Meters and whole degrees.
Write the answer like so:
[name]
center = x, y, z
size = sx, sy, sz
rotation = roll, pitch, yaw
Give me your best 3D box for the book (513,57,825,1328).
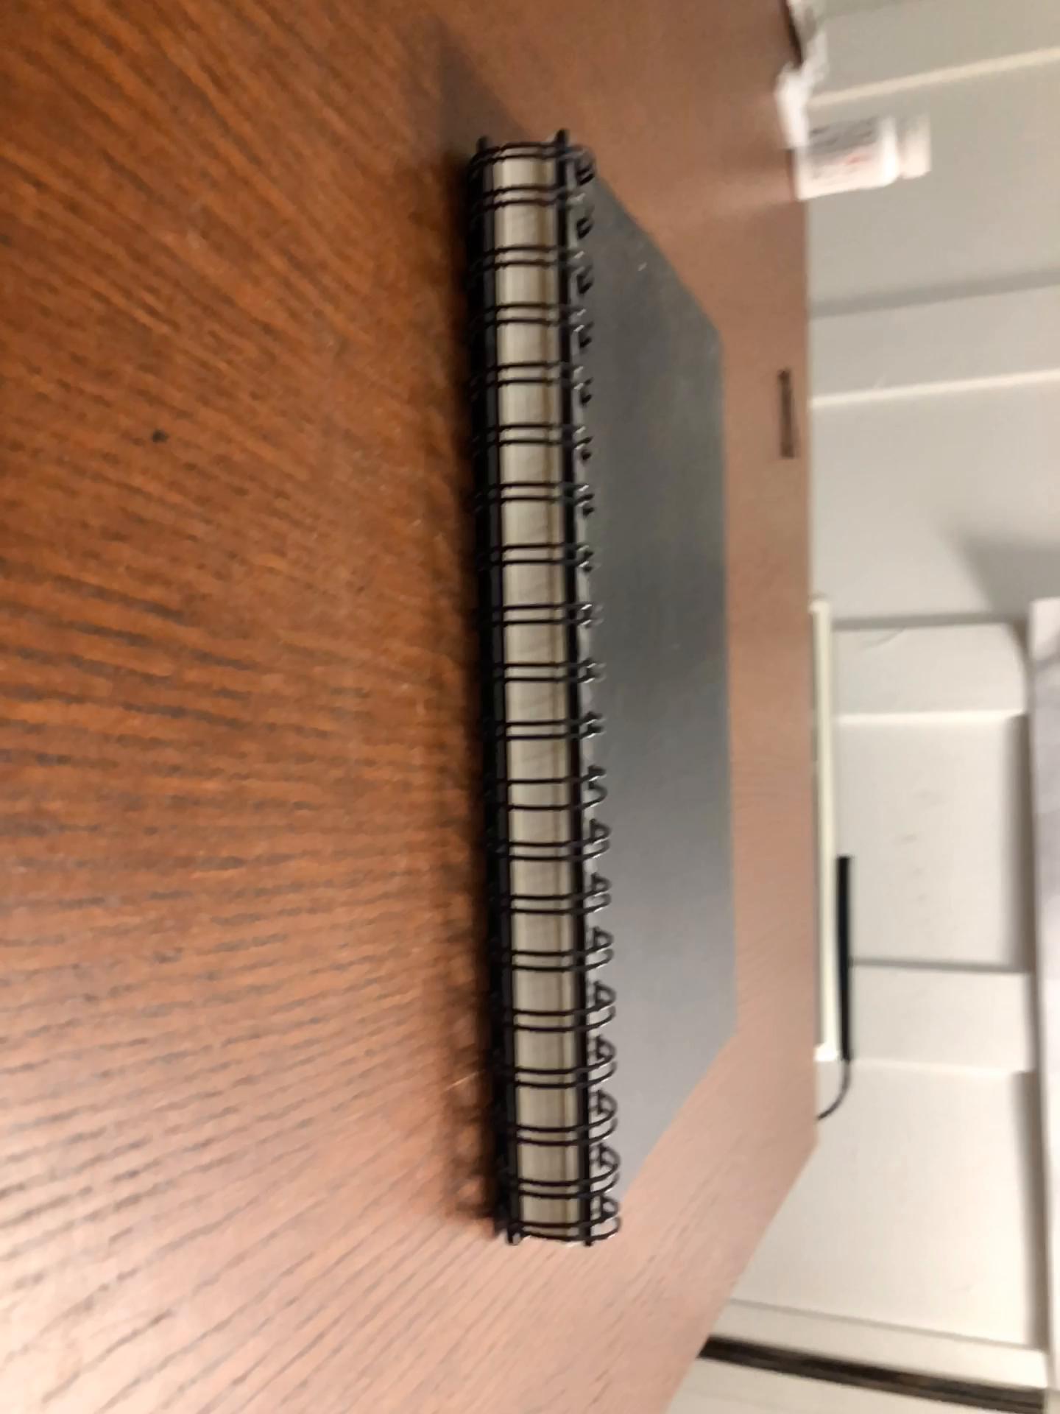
[book]
center = 0.052, -0.005, 0.340
size = 0.201, 0.030, 0.260
rotation = -8, 96, -68
